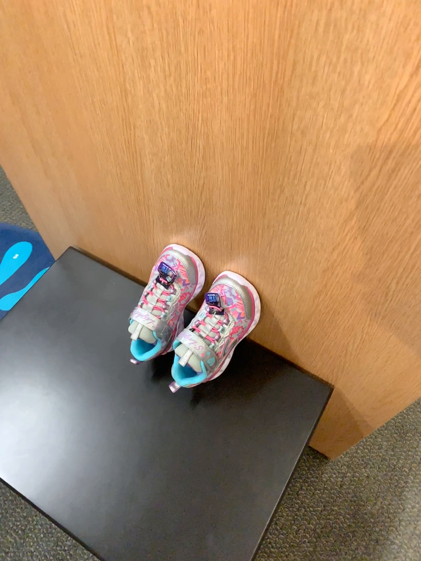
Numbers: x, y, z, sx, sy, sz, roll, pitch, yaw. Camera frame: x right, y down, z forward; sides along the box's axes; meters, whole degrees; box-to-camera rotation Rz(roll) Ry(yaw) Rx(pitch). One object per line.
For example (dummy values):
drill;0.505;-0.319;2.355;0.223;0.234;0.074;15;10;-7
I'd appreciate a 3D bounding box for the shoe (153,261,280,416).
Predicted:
shoe;0.008;0.080;0.621;0.090;0.180;0.100;30;24;16

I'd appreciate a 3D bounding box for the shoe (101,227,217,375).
shoe;-0.077;0.027;0.645;0.090;0.180;0.100;27;23;14
